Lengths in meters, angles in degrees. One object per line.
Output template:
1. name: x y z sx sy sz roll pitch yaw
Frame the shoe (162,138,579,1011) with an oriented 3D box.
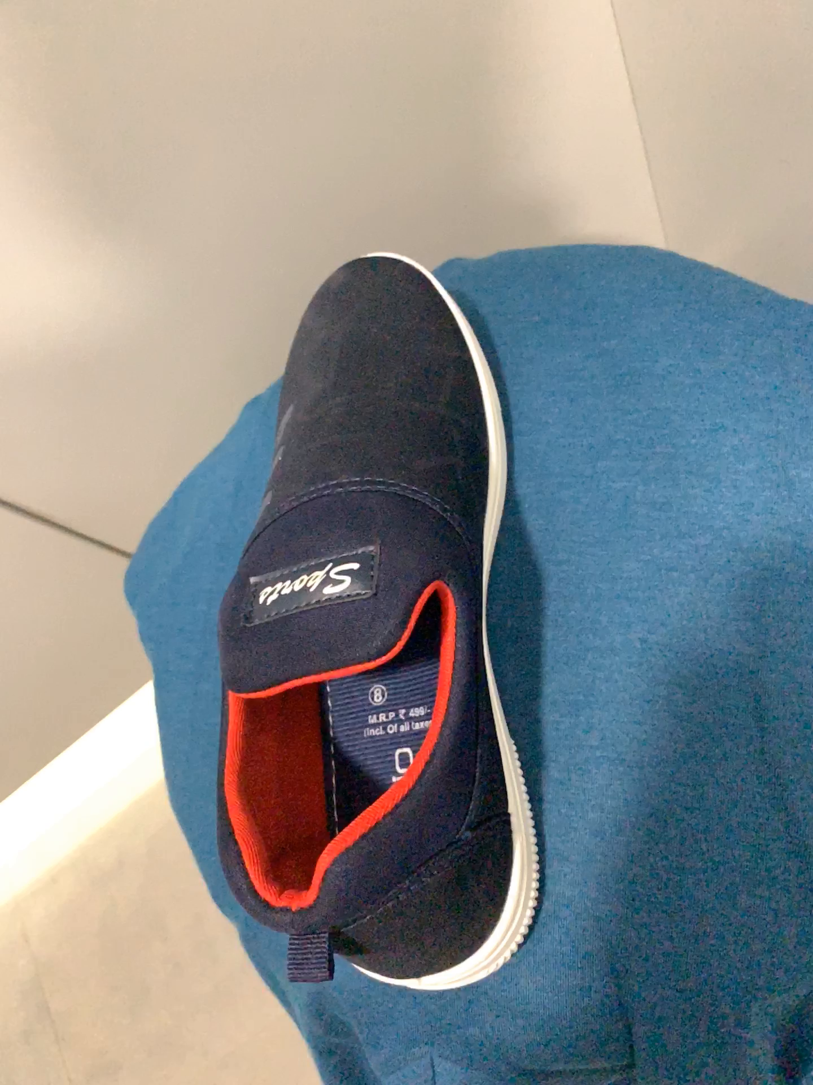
1. shoe: -0.015 0.009 0.297 0.090 0.100 0.260 -13 68 21
